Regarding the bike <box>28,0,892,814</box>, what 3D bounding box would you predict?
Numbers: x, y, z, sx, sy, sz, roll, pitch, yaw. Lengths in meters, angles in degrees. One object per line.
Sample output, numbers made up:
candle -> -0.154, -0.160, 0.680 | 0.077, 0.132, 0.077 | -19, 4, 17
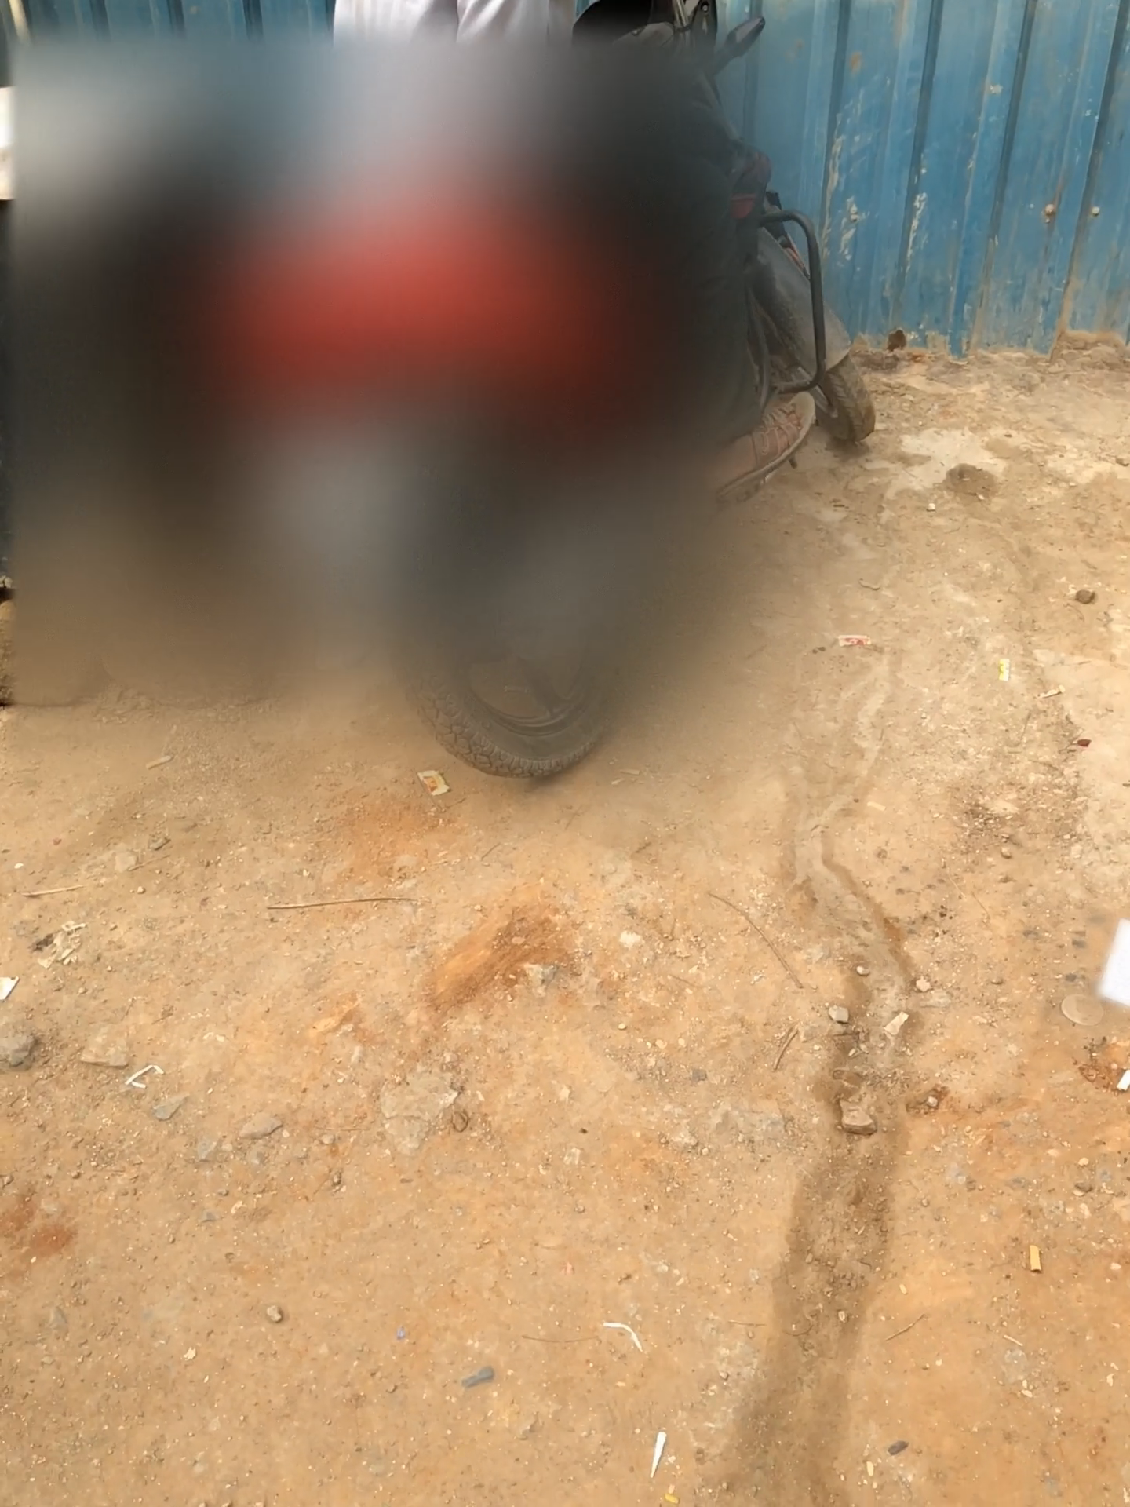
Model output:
bike -> -0.017, -0.997, 2.244 | 0.734, 1.129, 1.641 | 13, 42, 20
